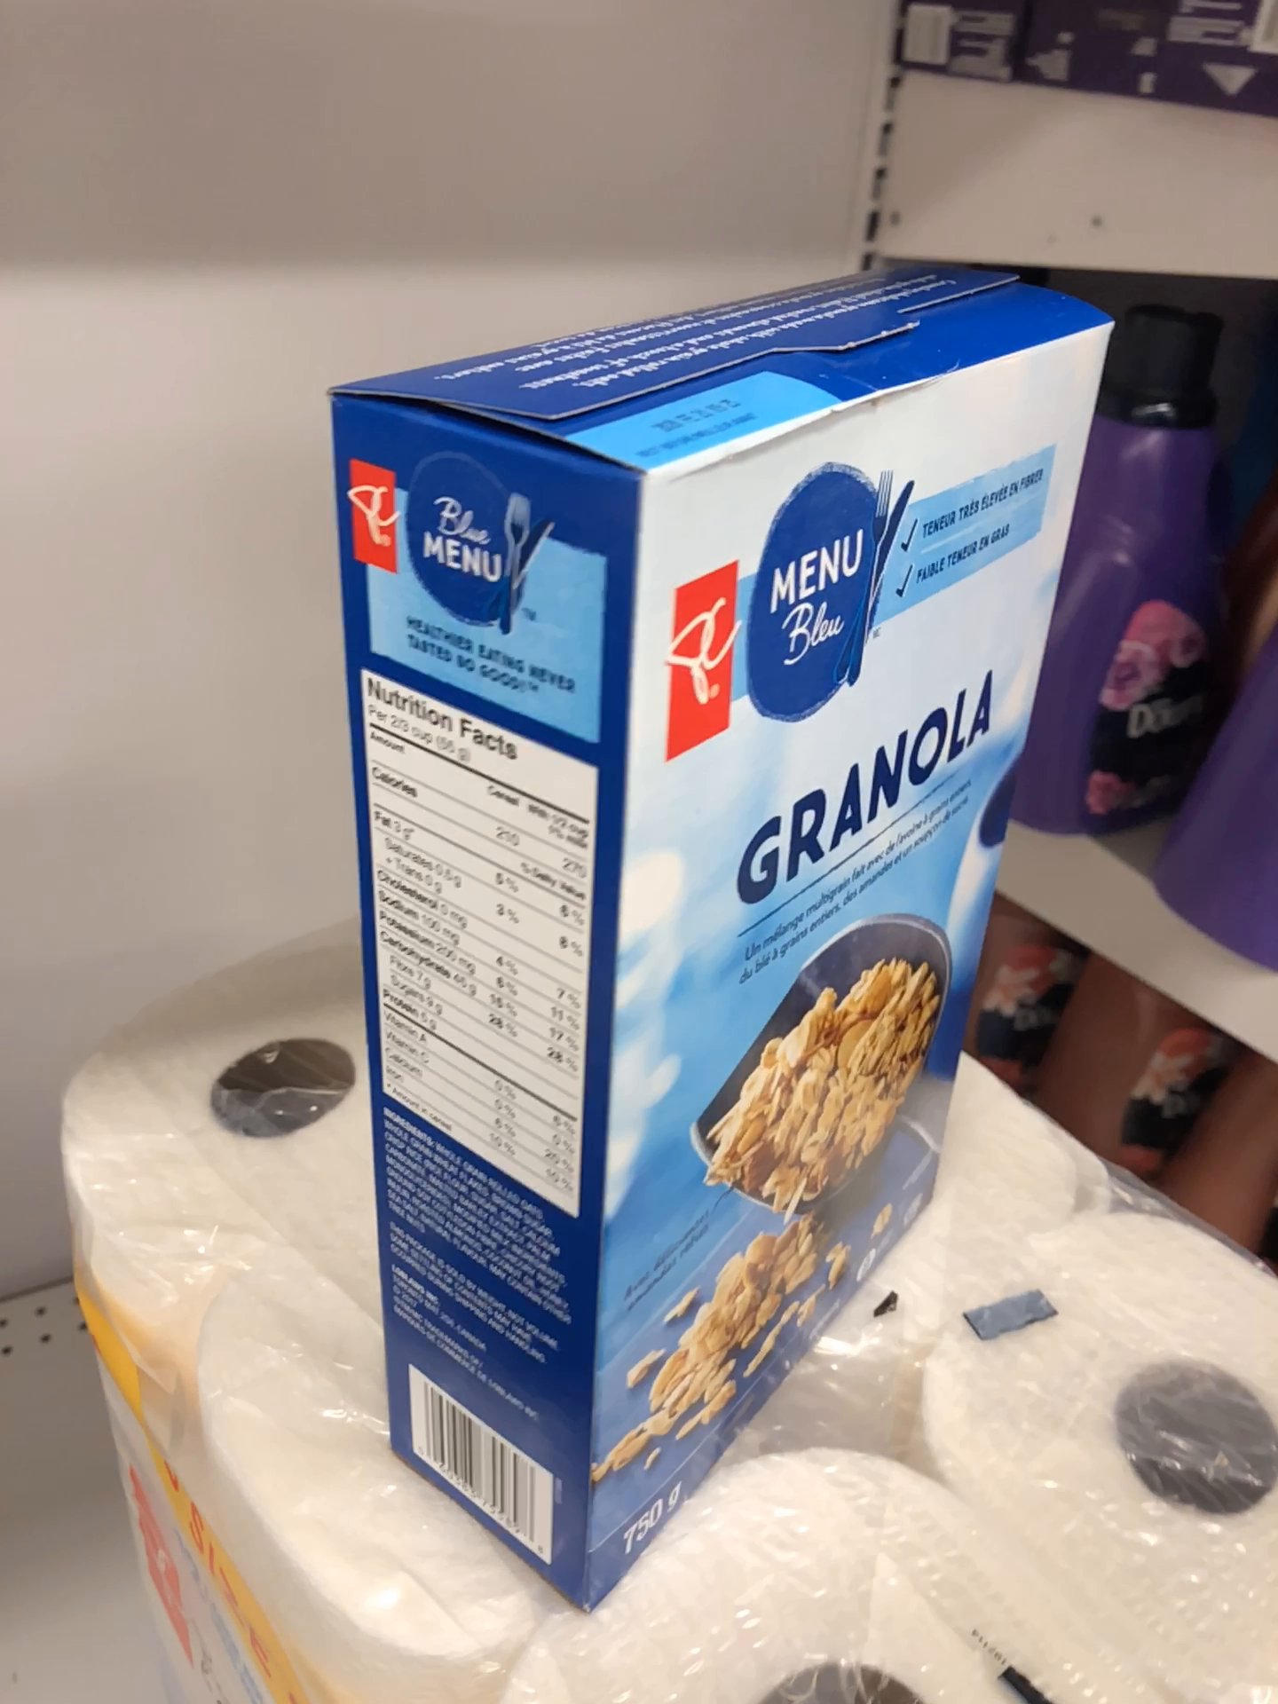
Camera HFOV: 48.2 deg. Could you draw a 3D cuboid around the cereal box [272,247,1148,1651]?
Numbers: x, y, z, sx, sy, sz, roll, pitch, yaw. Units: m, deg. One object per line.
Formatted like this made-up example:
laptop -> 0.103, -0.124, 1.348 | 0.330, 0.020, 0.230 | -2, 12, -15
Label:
cereal box -> 0.019, 0.015, 0.294 | 0.060, 0.239, 0.160 | 24, 37, 32
